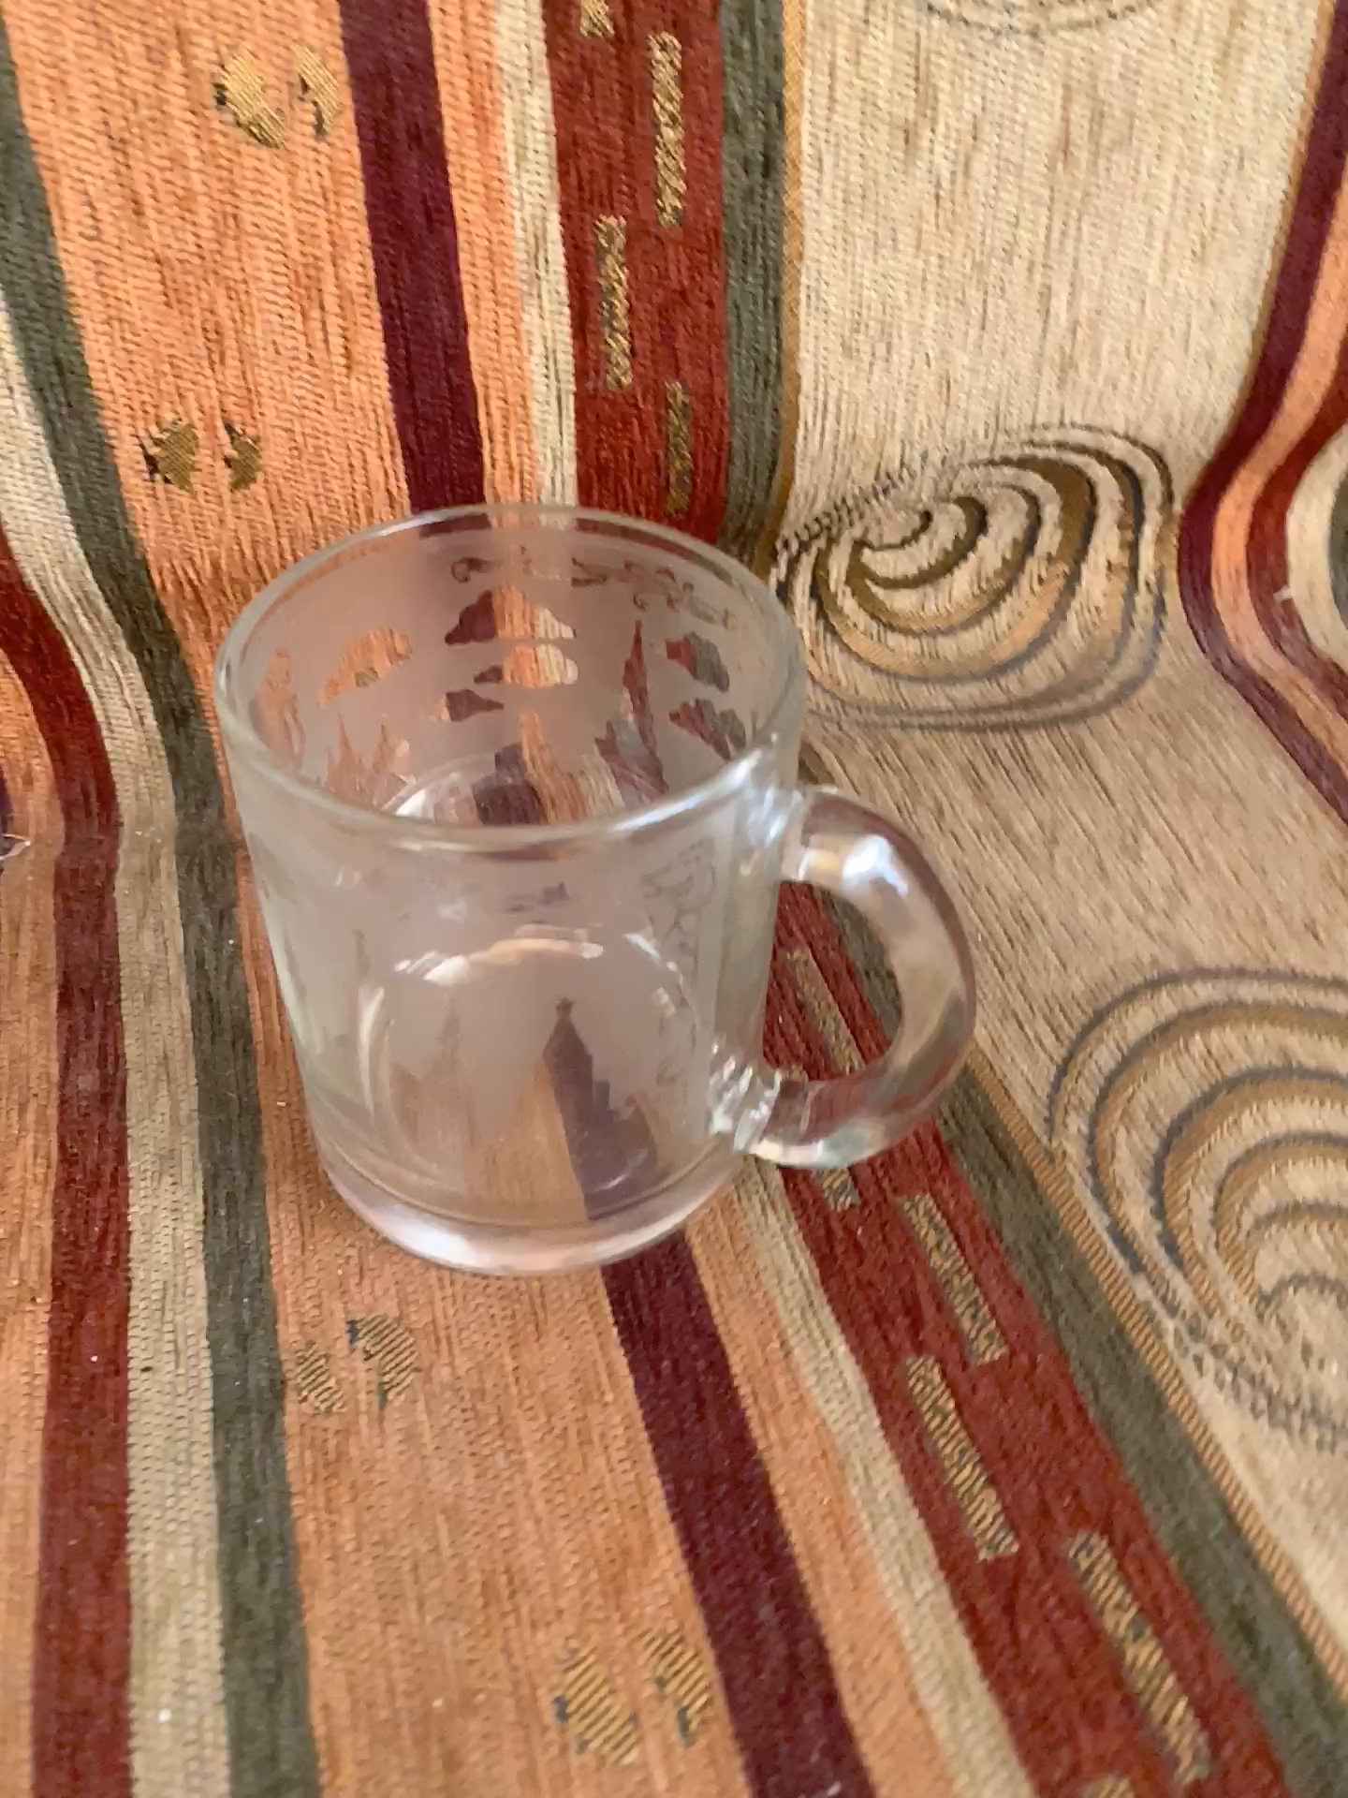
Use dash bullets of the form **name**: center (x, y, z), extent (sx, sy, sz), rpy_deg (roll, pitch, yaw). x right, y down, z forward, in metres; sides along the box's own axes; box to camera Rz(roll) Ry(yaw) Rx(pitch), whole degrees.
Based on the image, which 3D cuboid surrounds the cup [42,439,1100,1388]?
- **cup**: center (-0.006, -0.002, 0.207), extent (0.115, 0.086, 0.085), rpy_deg (11, 42, 10)
